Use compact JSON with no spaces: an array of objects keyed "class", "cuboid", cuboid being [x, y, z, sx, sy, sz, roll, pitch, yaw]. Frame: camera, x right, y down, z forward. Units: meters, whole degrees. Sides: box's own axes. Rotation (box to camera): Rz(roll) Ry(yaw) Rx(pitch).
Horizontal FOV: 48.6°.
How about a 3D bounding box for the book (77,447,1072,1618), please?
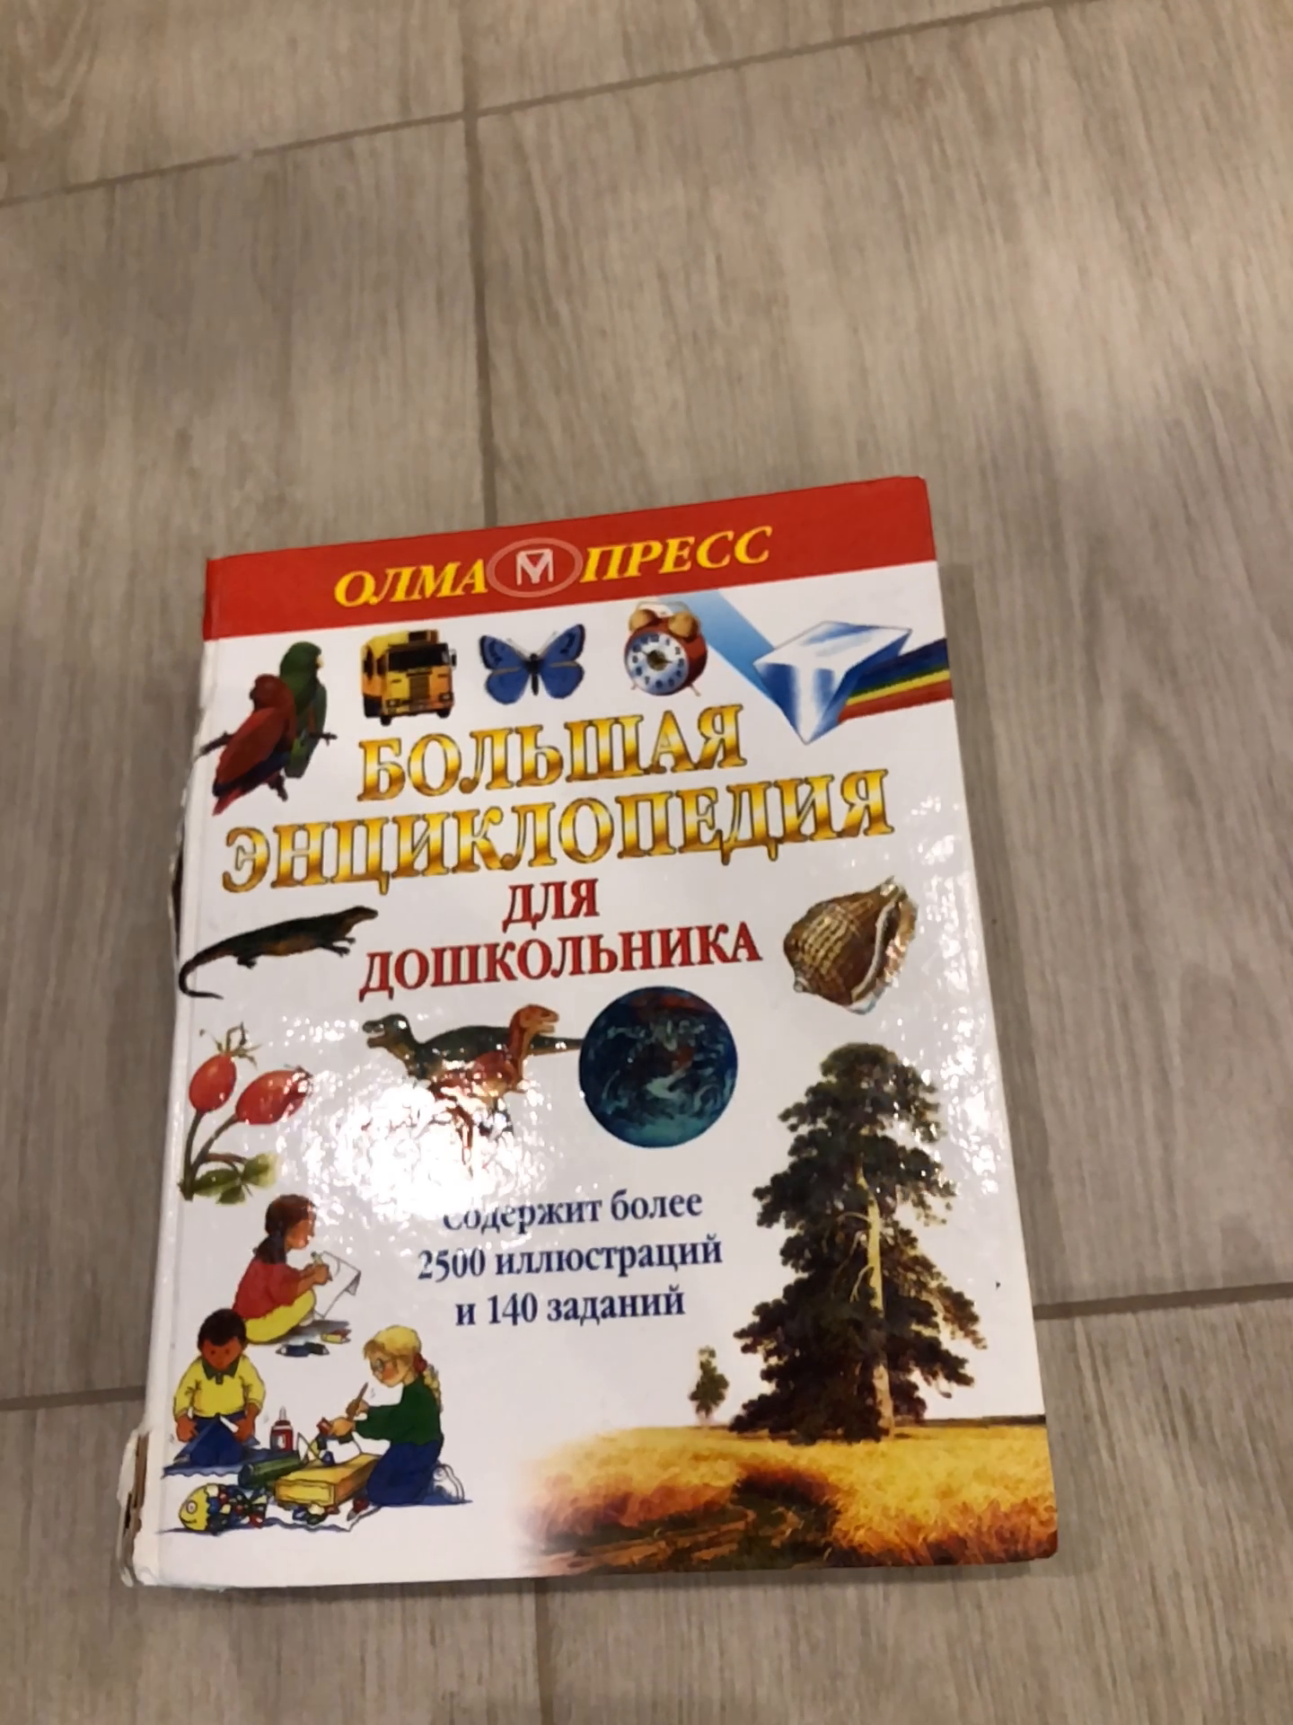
[{"class":"book","cuboid":[-0.021,0.037,0.382,0.216,0.060,0.281,-5,70,7]}]
